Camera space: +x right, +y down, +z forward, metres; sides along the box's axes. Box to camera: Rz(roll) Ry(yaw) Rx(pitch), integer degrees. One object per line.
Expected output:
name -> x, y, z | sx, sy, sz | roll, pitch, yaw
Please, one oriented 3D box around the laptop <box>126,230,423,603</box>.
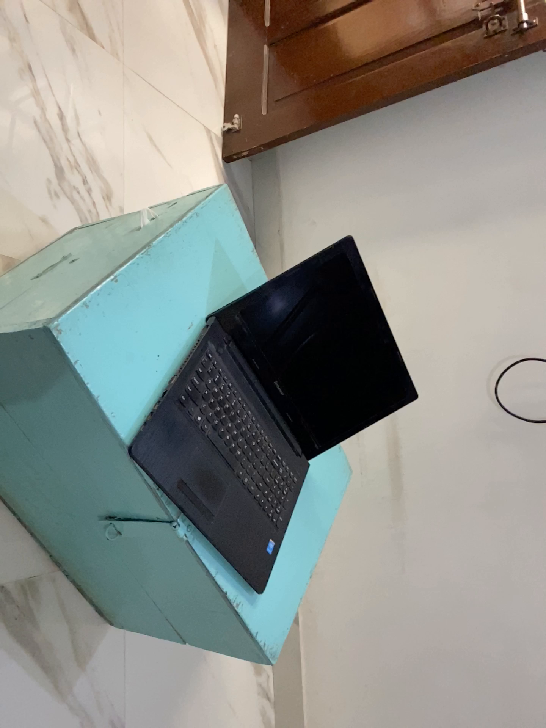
laptop -> 0.053, 0.081, 0.885 | 0.372, 0.190, 0.424 | 59, 41, -34
